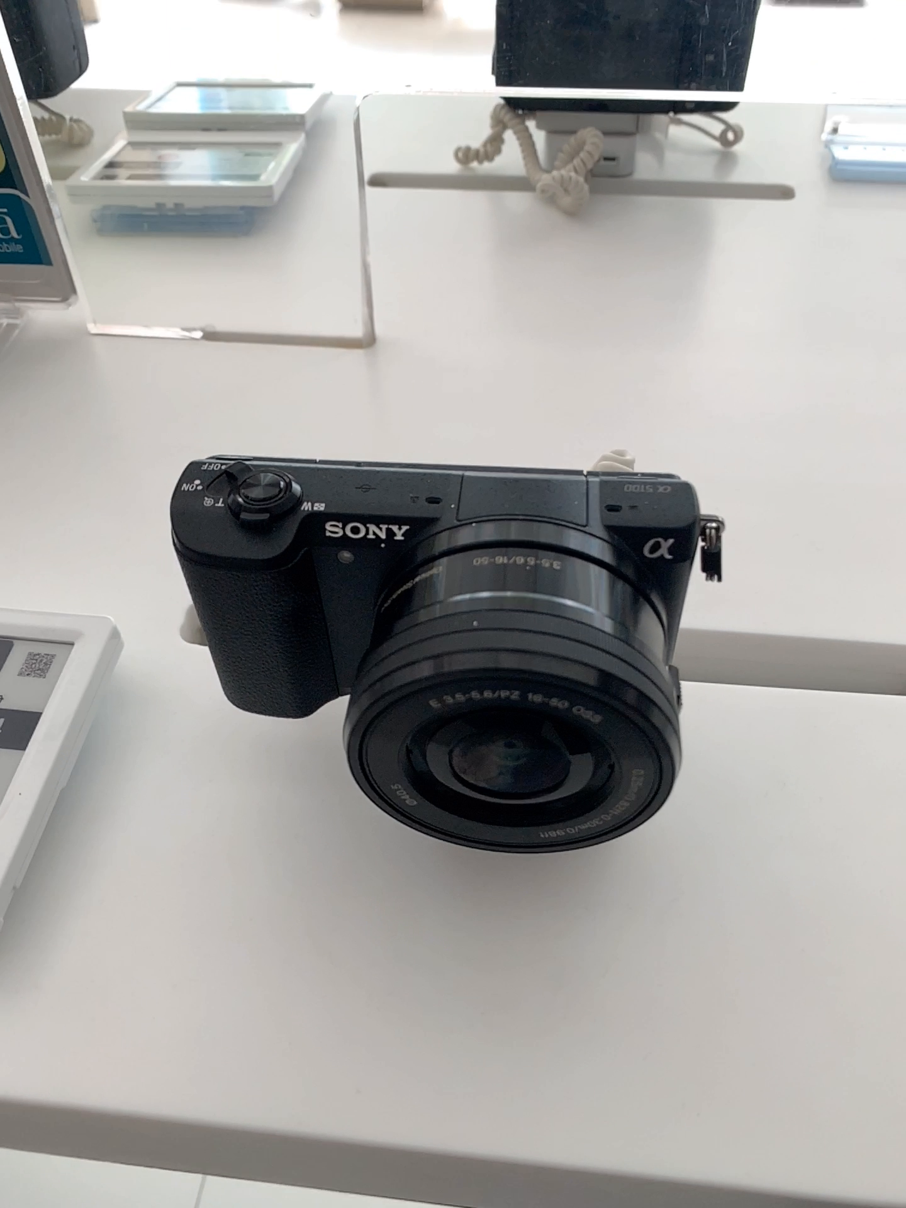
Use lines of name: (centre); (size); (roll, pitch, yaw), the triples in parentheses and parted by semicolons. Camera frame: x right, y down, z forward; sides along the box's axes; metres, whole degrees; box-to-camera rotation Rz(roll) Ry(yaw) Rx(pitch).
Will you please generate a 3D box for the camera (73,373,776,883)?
camera: (-0.002, 0.006, 0.195); (0.110, 0.080, 0.060); (4, 46, 5)
